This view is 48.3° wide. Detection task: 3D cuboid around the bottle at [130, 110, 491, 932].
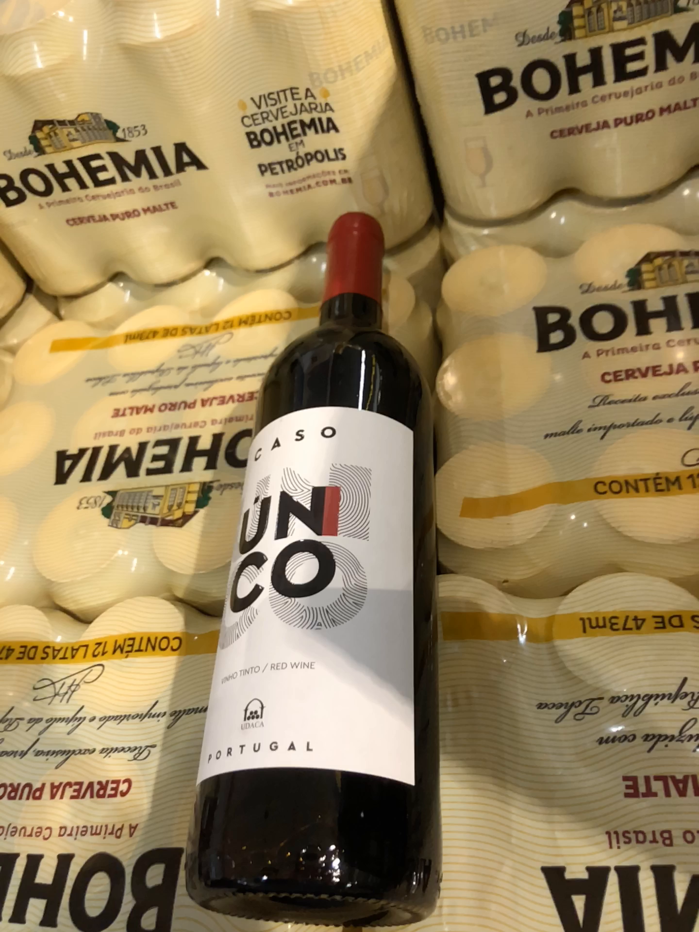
[{"bbox_3d":[0.000,-0.008,0.308,0.080,0.070,0.332,-8,53,15],"label":"bottle"}]
